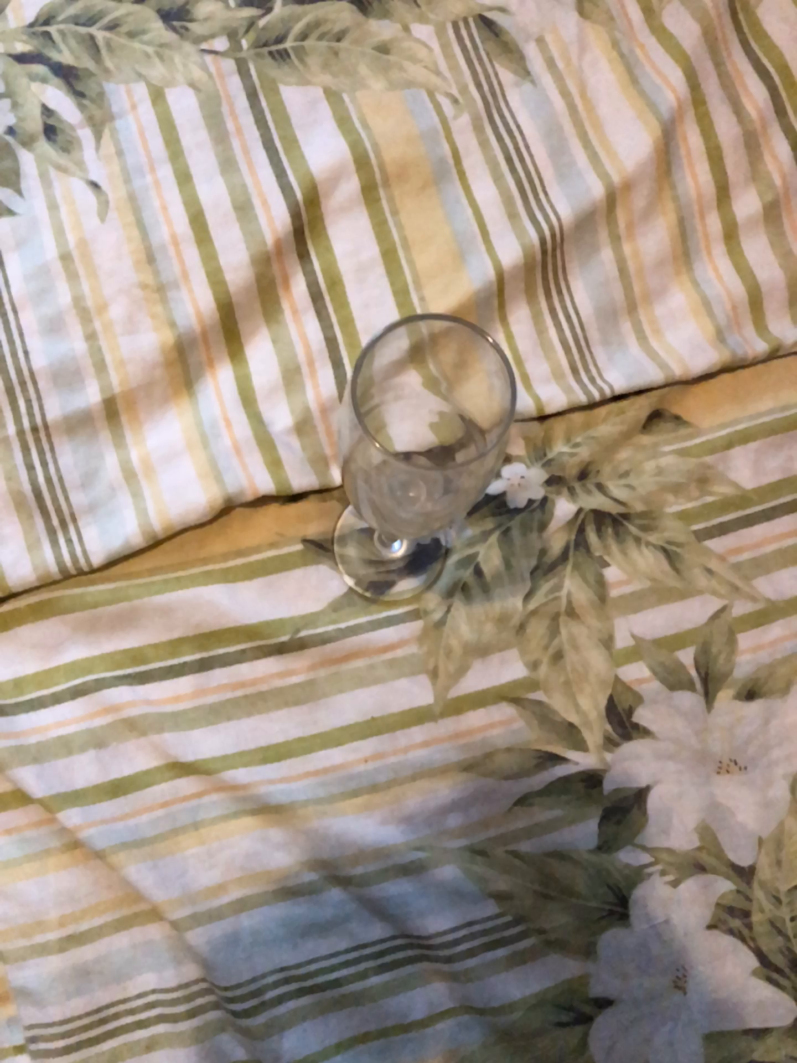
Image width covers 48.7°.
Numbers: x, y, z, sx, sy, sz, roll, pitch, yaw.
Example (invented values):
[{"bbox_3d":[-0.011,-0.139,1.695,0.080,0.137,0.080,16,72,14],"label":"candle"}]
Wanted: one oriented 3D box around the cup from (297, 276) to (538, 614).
[{"bbox_3d":[0.001,-0.017,0.374,0.071,0.218,0.082,2,79,-3],"label":"cup"}]
